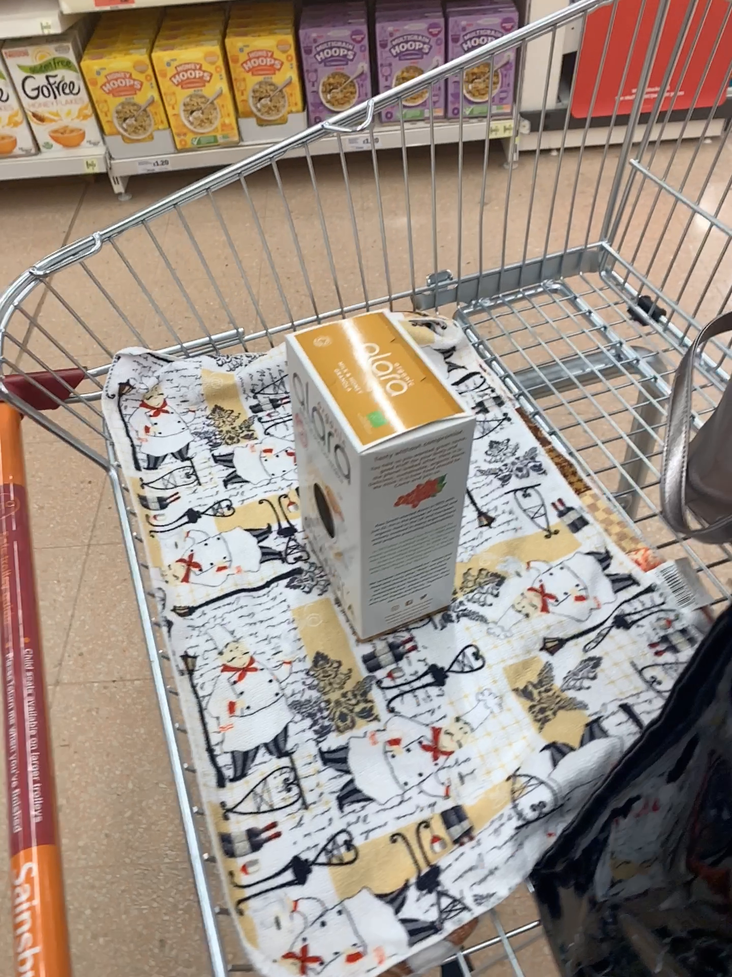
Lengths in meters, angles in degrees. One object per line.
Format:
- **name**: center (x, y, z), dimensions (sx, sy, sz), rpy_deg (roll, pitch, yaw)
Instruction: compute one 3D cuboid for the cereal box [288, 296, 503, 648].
- **cereal box**: center (0.014, -0.005, 0.511), dimensions (0.080, 0.198, 0.121), rpy_deg (-20, 51, -17)
